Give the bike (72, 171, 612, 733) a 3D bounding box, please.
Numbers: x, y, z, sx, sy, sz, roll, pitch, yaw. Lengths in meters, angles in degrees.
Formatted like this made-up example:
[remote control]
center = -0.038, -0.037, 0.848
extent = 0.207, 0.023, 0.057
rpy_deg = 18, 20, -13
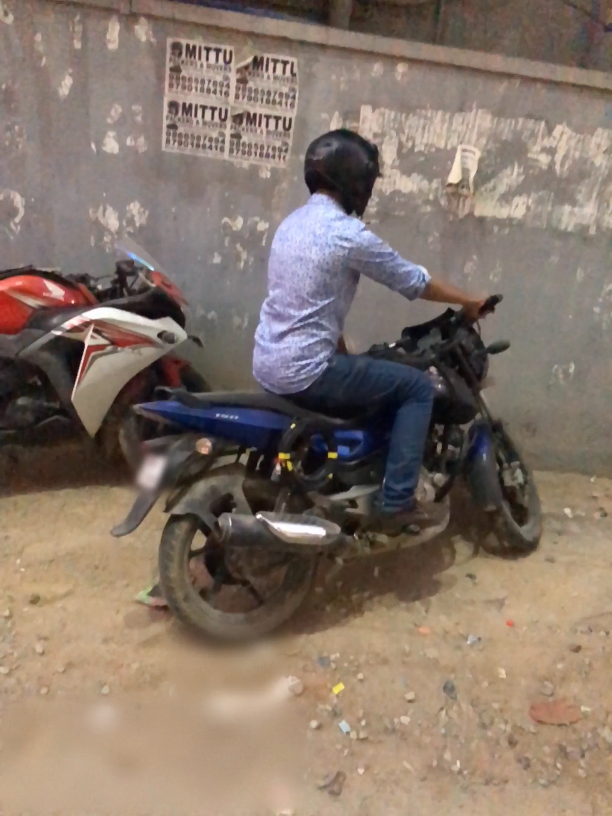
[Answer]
[bike]
center = 0.194, -0.041, 2.399
extent = 1.507, 1.113, 1.095
rpy_deg = -20, 35, -34
